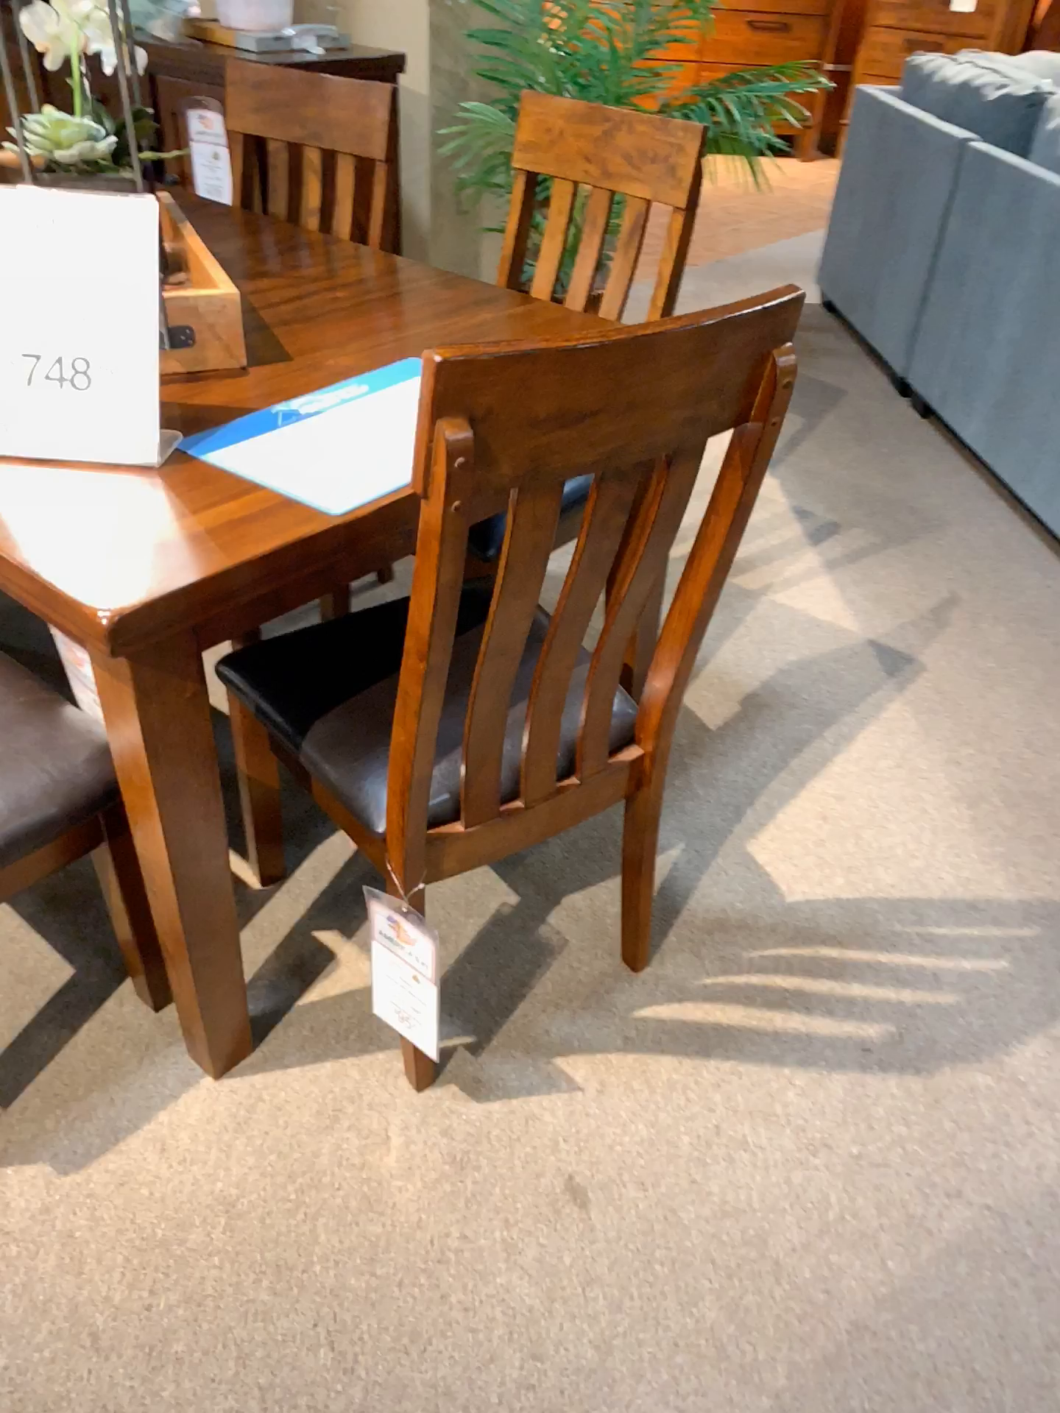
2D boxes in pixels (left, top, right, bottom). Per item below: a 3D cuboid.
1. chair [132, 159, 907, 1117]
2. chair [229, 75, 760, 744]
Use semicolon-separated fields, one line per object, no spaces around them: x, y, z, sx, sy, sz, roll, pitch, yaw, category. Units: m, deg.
-0.053;-0.099;1.289;0.532;0.890;0.541;-19;42;-28;chair
-0.070;-0.531;1.870;0.592;0.890;0.530;28;43;28;chair
